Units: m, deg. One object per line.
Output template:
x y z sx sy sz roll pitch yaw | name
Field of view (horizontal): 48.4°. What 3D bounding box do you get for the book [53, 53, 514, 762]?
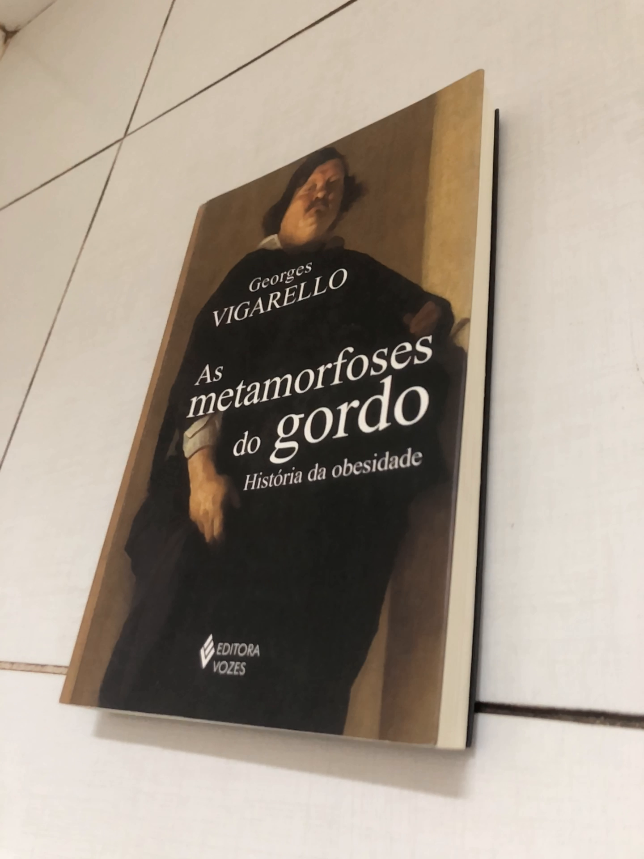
-0.009 -0.013 0.233 0.137 0.023 0.204 -12 58 36 | book
